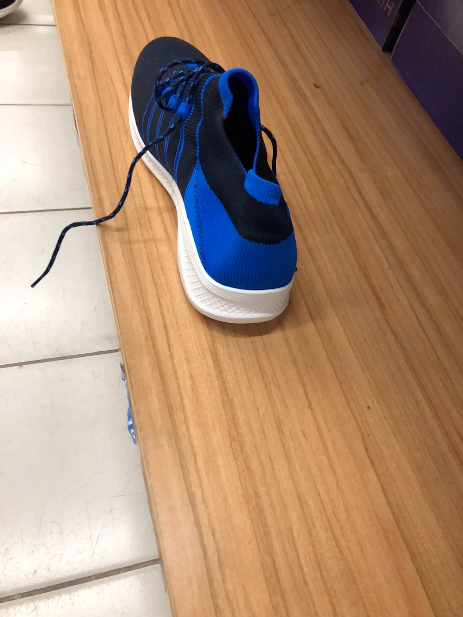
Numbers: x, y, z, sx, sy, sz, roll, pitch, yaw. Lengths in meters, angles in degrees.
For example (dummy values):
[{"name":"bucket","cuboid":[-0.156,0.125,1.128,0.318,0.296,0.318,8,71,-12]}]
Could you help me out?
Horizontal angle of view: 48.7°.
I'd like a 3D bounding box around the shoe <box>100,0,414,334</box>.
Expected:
[{"name":"shoe","cuboid":[-0.008,-0.131,0.351,0.110,0.109,0.261,-10,59,-18]}]
